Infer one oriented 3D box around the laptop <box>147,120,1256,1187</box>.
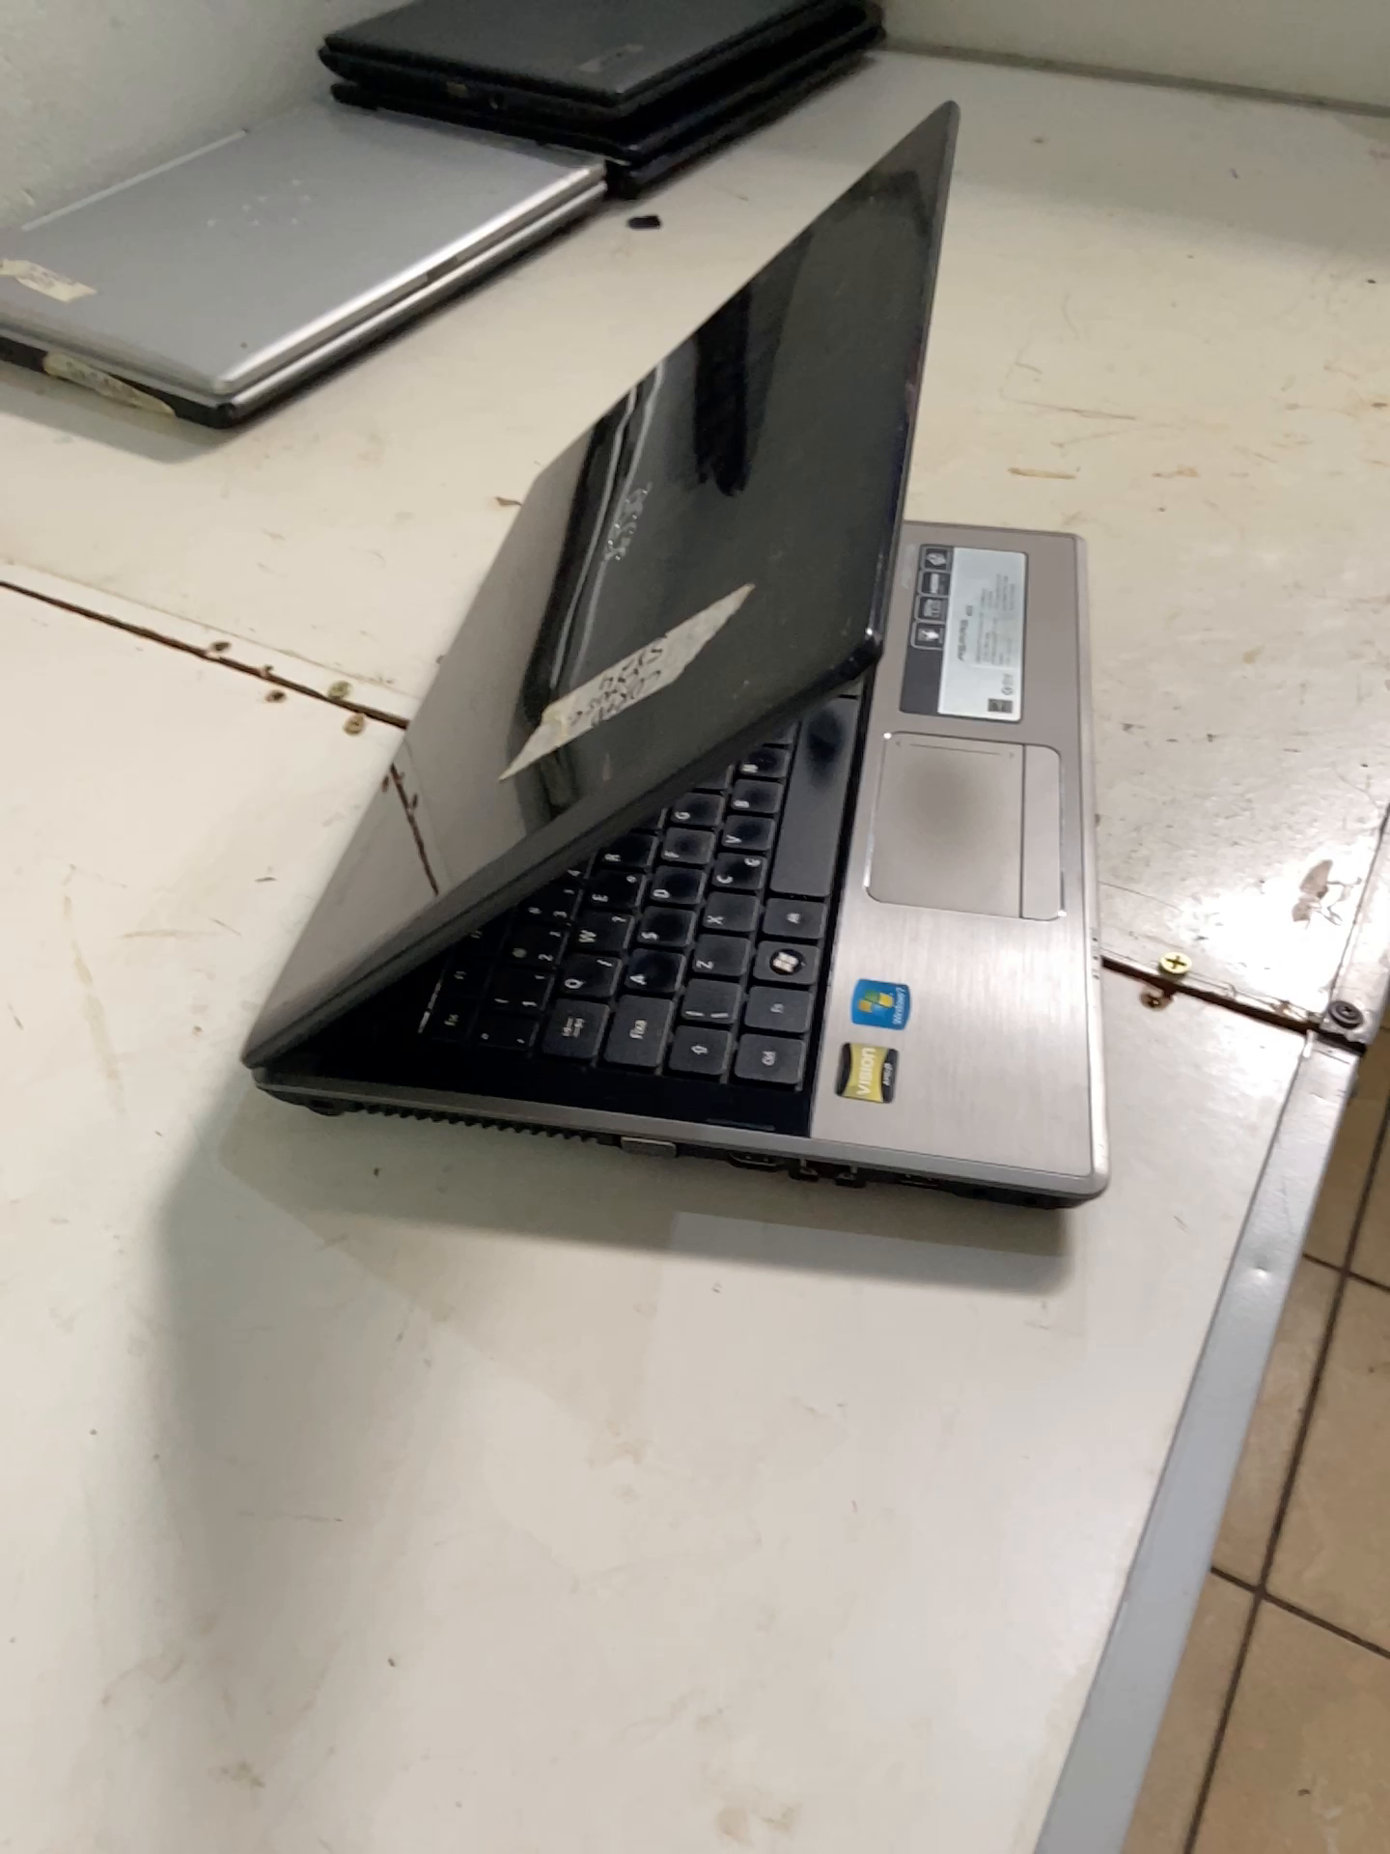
[{"bbox_3d":[0.023,-0.117,0.460,0.226,0.157,0.336,6,45,6],"label":"laptop"}]
